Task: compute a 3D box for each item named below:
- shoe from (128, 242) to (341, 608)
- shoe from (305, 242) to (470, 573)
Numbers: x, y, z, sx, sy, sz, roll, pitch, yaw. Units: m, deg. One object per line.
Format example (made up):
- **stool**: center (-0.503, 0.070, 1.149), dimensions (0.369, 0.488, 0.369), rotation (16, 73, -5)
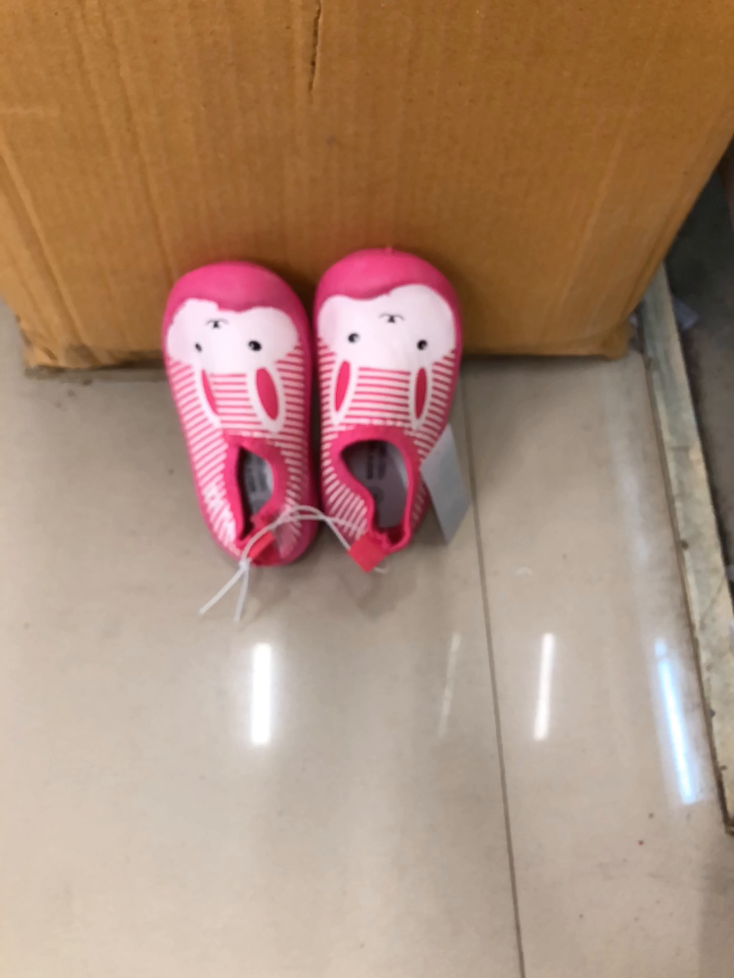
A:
- **shoe**: center (-0.060, -0.035, 0.403), dimensions (0.069, 0.082, 0.156), rotation (-8, 105, -4)
- **shoe**: center (0.010, -0.045, 0.409), dimensions (0.069, 0.083, 0.148), rotation (3, 106, 3)
